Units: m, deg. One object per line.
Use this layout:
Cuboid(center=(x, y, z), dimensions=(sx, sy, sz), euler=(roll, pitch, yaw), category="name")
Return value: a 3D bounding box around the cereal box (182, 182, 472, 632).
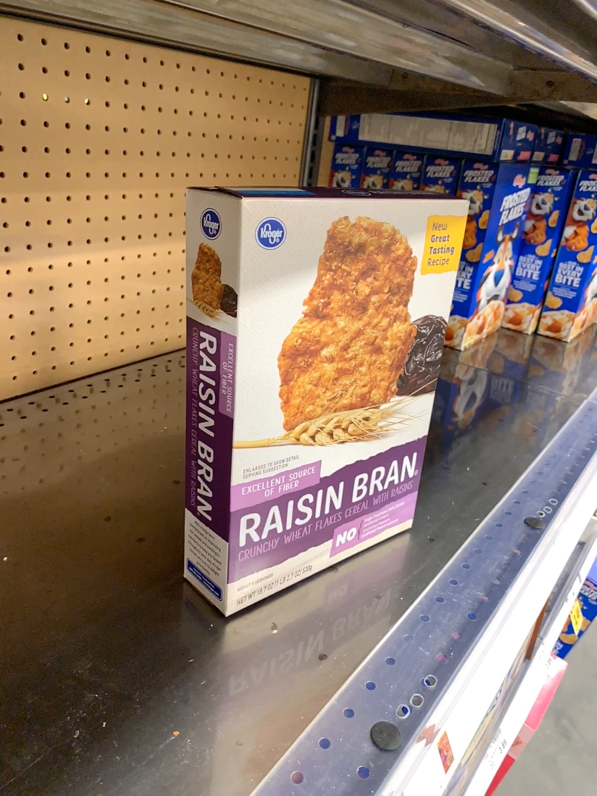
Cuboid(center=(0.018, -0.001, 0.422), dimensions=(0.190, 0.269, 0.050), euler=(-14, 29, -39), category="cereal box")
